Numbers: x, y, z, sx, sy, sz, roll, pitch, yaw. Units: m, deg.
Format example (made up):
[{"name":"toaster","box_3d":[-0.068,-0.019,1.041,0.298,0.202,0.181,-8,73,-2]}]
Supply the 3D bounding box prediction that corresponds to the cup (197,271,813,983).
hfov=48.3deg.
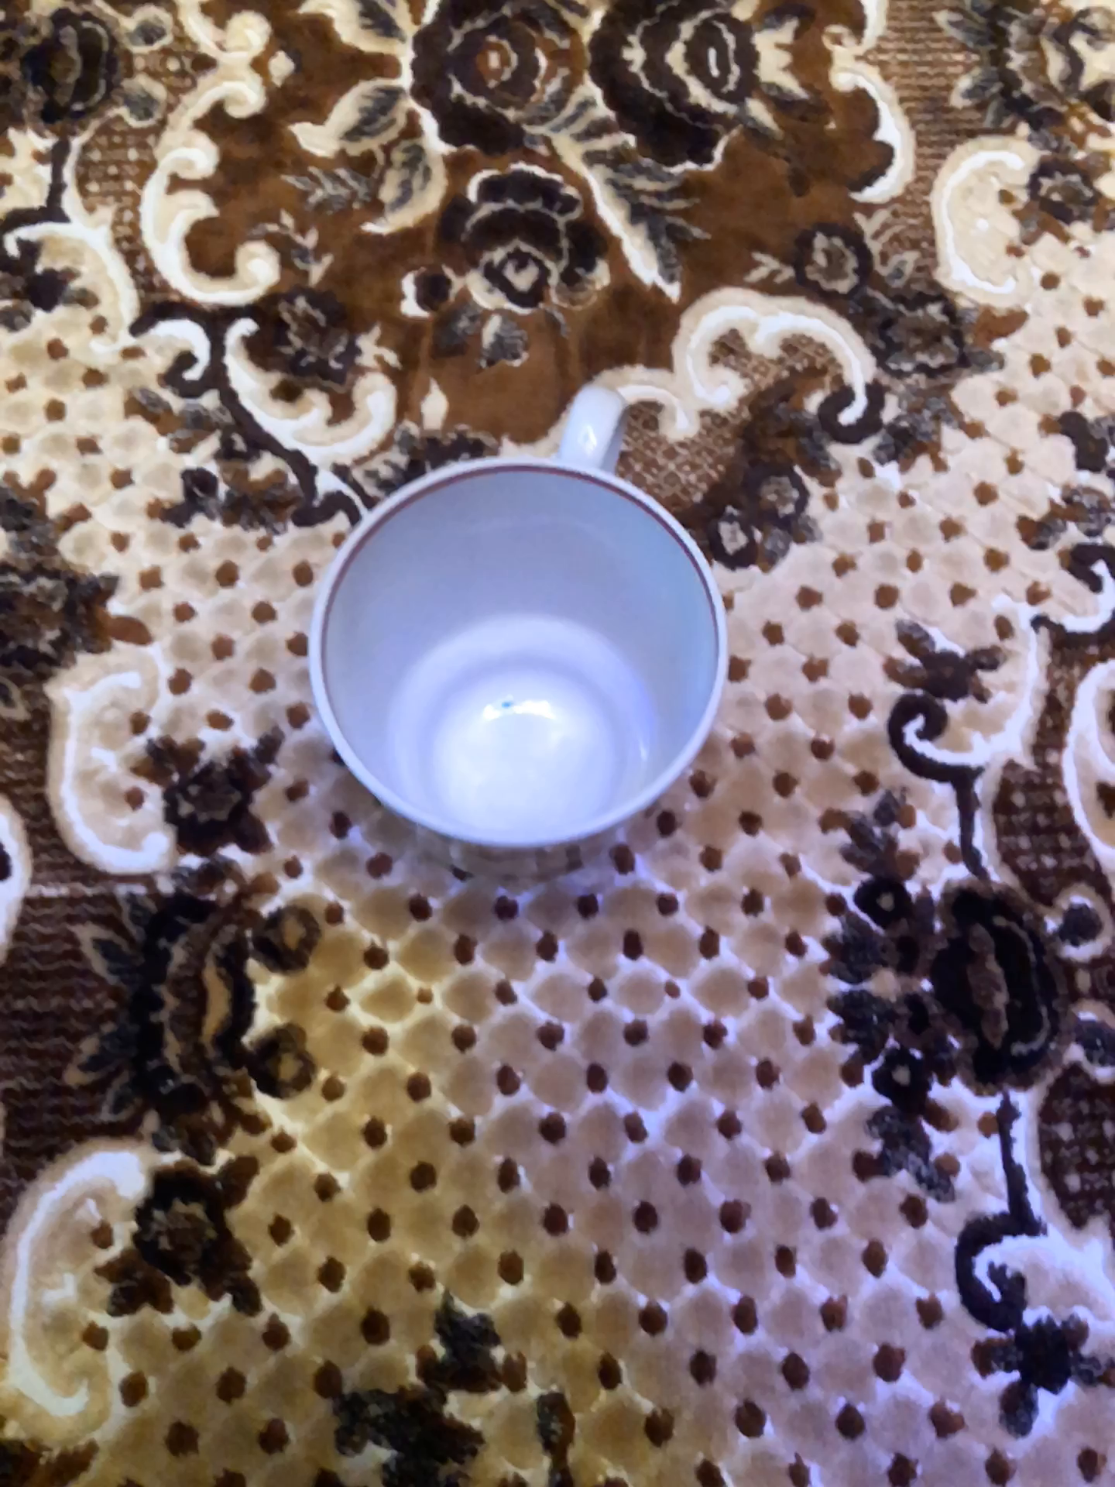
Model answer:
[{"name":"cup","box_3d":[-0.007,-0.023,0.305,0.100,0.090,0.130,13,72,5]}]
